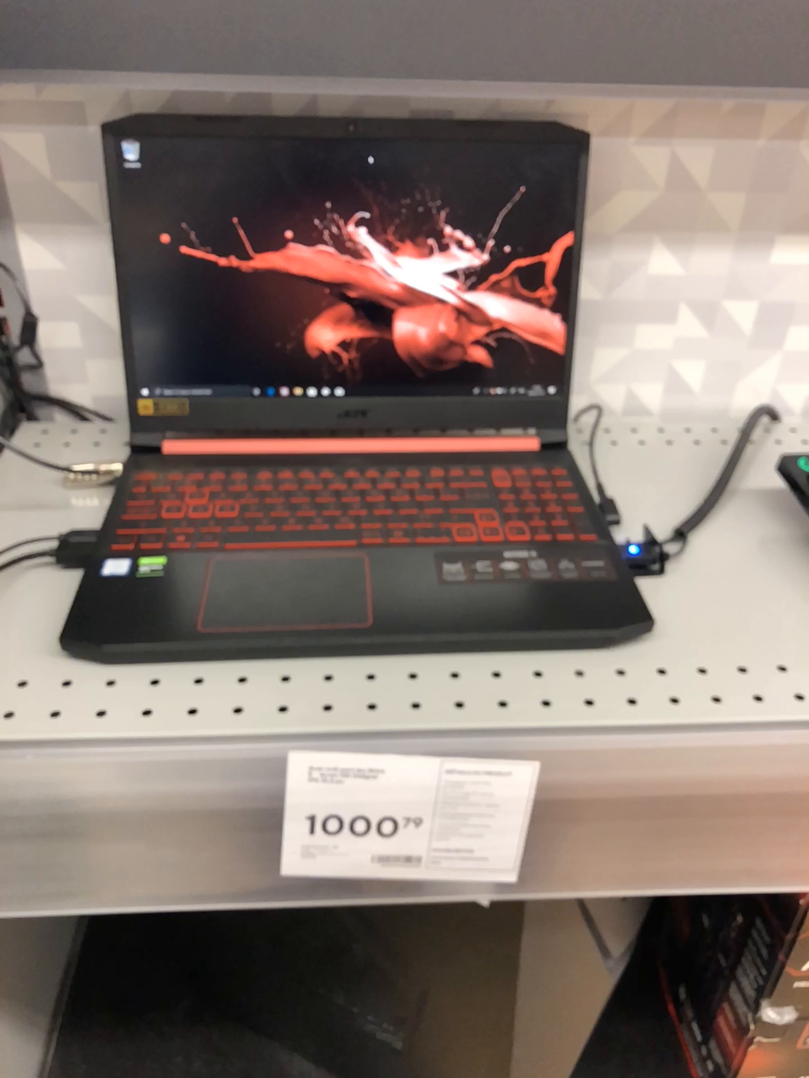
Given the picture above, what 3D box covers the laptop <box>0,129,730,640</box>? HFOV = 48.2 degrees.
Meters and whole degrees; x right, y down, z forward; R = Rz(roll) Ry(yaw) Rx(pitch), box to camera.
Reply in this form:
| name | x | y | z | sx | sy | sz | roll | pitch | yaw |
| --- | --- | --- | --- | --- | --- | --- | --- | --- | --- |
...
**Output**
| name | x | y | z | sx | sy | sz | roll | pitch | yaw |
| --- | --- | --- | --- | --- | --- | --- | --- | --- | --- |
| laptop | -0.029 | -0.121 | 0.619 | 0.361 | 0.241 | 0.282 | -1 | 34 | -6 |
